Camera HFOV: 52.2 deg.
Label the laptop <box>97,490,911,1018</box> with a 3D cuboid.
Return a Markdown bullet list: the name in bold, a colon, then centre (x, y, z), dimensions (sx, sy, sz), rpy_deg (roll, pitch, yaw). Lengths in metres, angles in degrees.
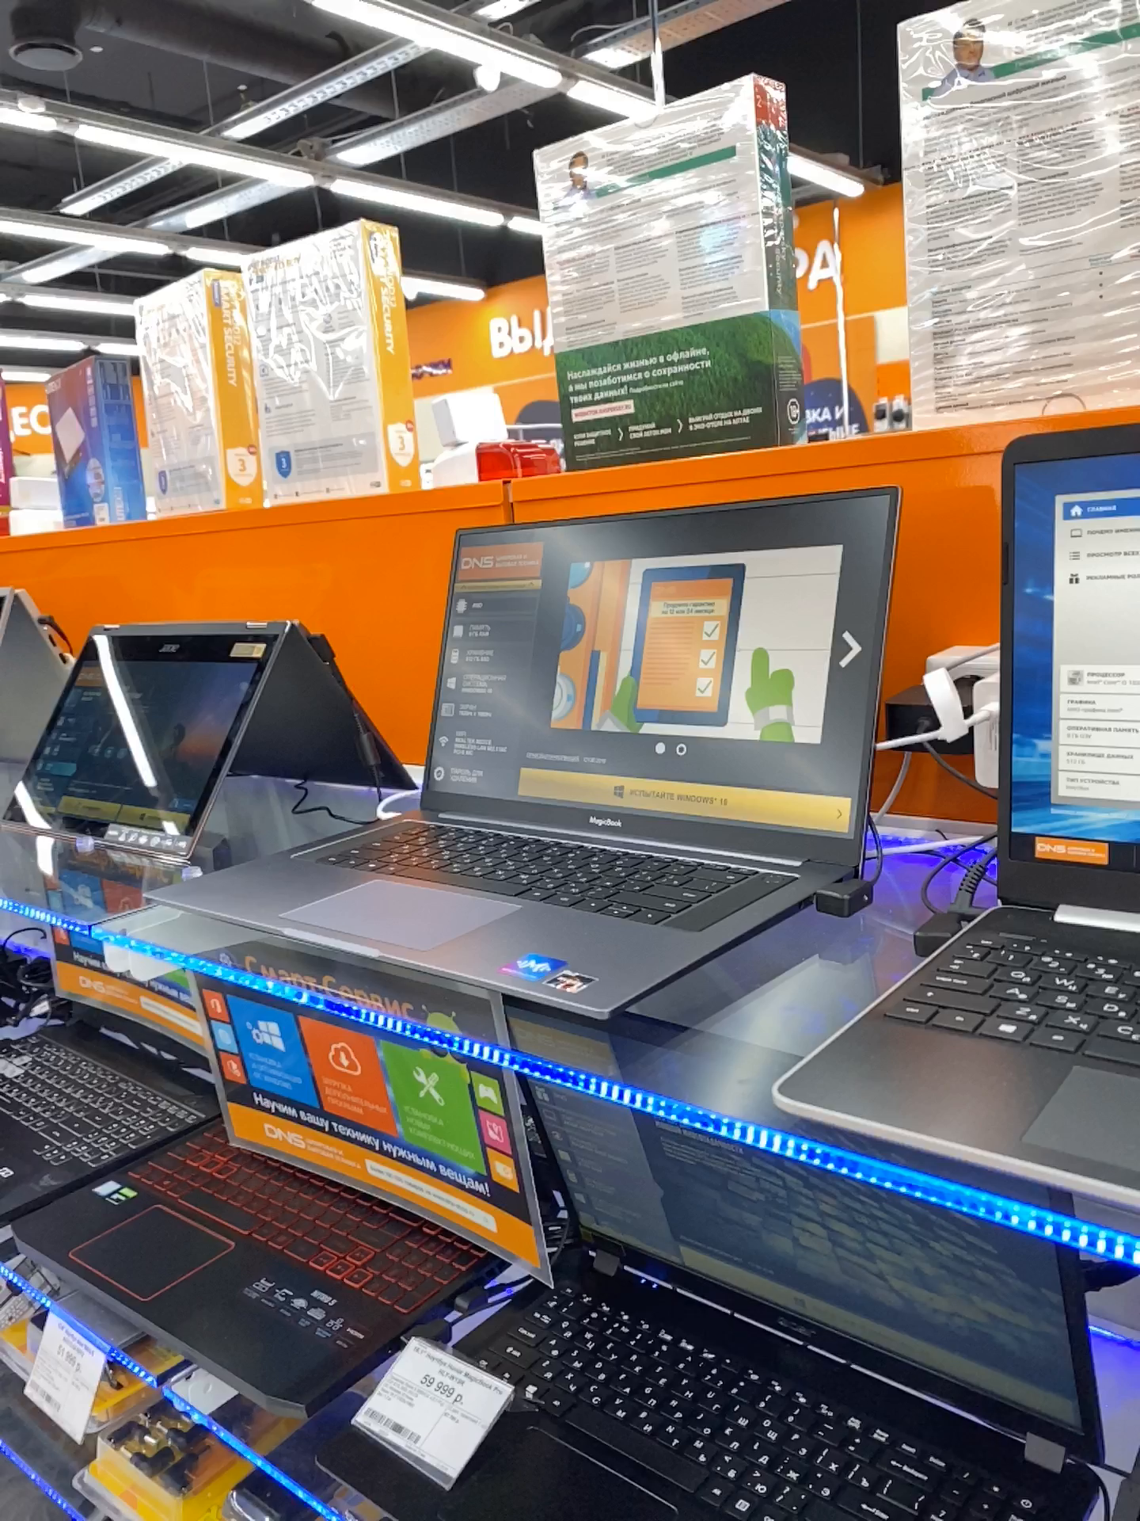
- **laptop**: centre (-0.036, -0.037, 0.713), dimensions (0.369, 0.207, 0.314), rpy_deg (4, 14, 40)
